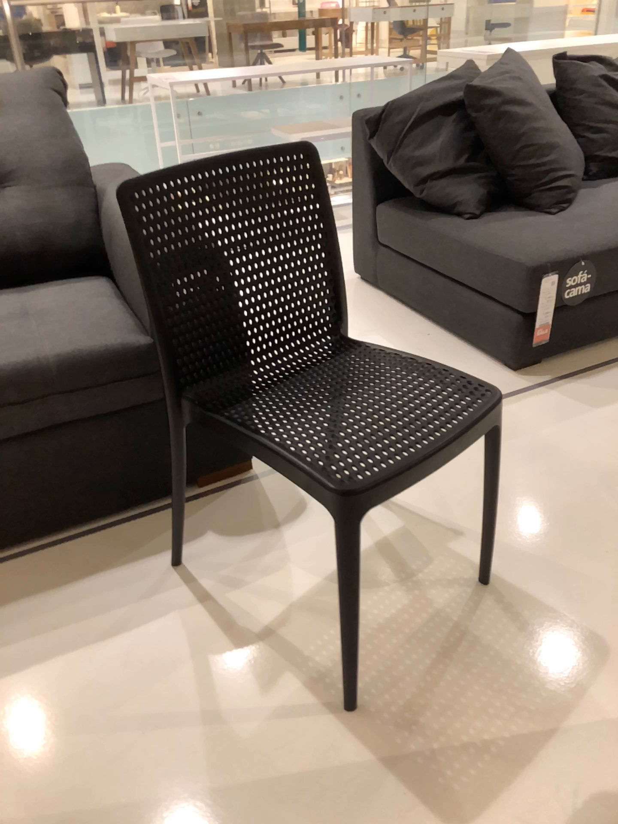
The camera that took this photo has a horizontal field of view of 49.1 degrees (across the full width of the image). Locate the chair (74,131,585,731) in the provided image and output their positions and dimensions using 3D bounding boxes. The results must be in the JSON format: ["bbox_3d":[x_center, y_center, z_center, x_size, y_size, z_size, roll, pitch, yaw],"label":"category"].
[{"bbox_3d":[0.041,-0.024,1.221,0.532,0.784,0.562,-28,39,-36],"label":"chair"}]
